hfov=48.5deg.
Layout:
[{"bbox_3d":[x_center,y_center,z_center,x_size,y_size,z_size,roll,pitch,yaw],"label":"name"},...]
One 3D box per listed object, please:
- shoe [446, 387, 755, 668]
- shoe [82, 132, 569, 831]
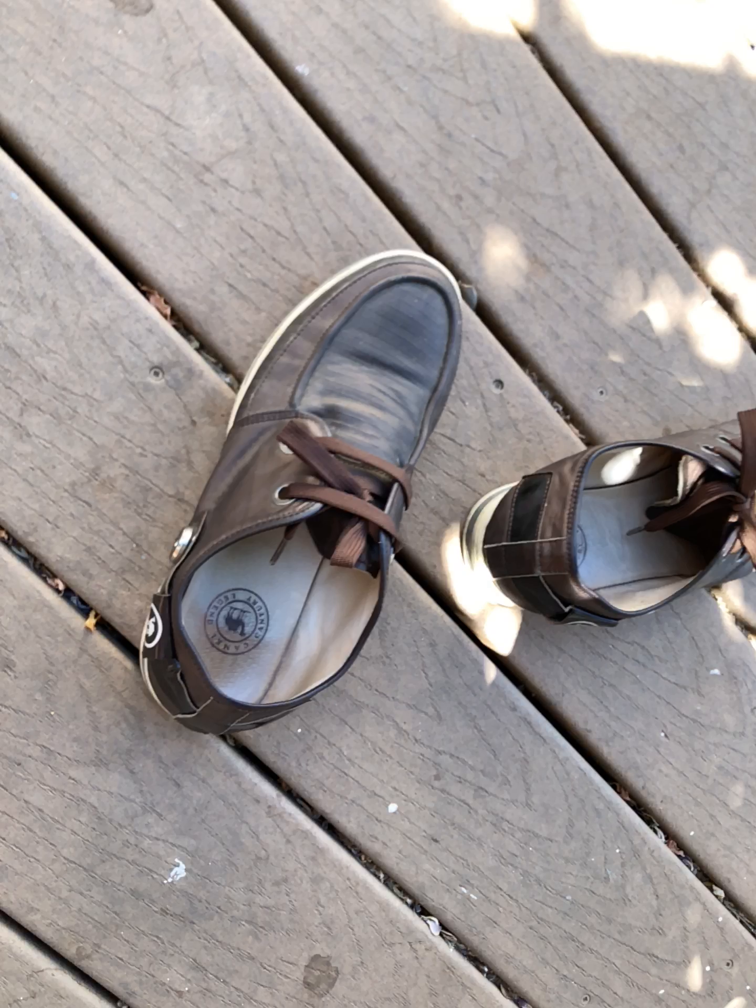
[{"bbox_3d":[0.211,0.005,0.520,0.304,0.116,0.110,-9,94,-18],"label":"shoe"},{"bbox_3d":[-0.032,-0.012,0.438,0.110,0.116,0.301,27,83,-17],"label":"shoe"}]
